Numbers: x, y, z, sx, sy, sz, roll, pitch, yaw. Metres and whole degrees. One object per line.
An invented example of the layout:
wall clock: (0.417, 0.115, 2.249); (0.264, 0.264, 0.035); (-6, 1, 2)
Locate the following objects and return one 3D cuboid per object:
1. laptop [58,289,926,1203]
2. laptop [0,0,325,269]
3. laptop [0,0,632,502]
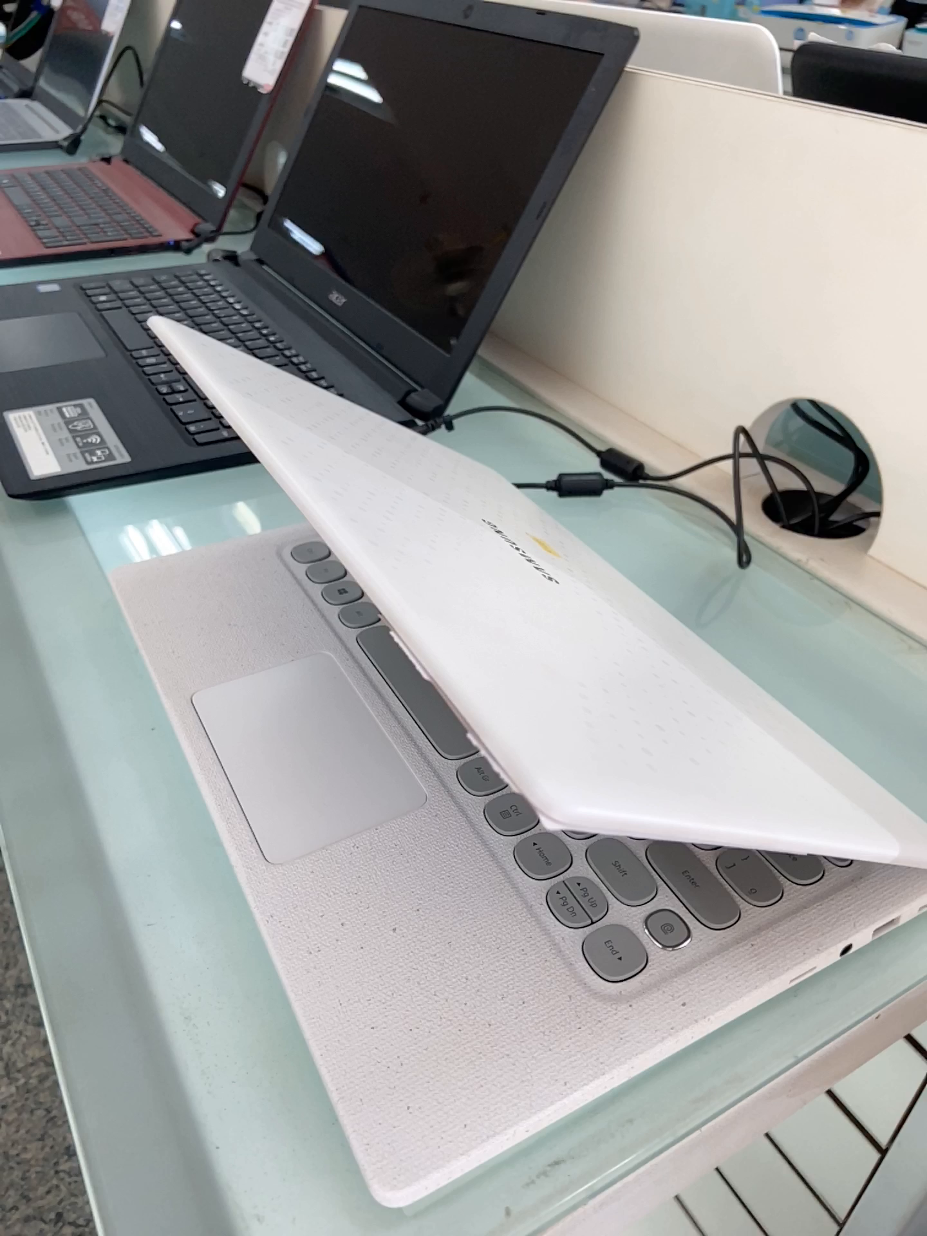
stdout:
laptop: (-0.003, -0.012, 0.352); (0.206, 0.107, 0.313); (-17, 38, -23)
laptop: (-0.376, -0.518, 0.940); (0.367, 0.199, 0.310); (-19, 42, -25)
laptop: (-0.168, -0.299, 0.662); (0.374, 0.213, 0.402); (-16, 38, -23)
